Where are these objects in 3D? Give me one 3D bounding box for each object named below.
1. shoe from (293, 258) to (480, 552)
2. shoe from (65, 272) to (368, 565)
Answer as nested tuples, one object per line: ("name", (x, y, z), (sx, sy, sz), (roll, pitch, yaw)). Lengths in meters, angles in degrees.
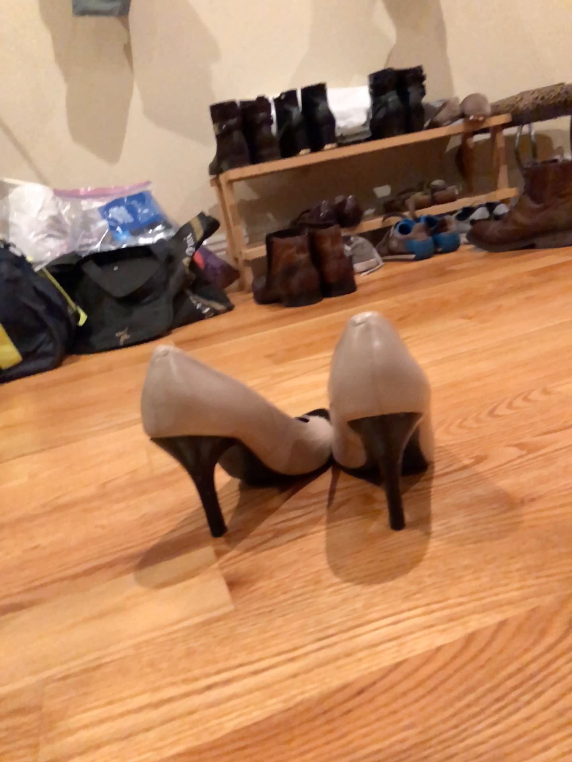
("shoe", (0.063, -0.004, 0.469), (0.085, 0.139, 0.236), (-11, 16, 5))
("shoe", (-0.033, 0.011, 0.490), (0.085, 0.139, 0.236), (-2, 18, 33))
